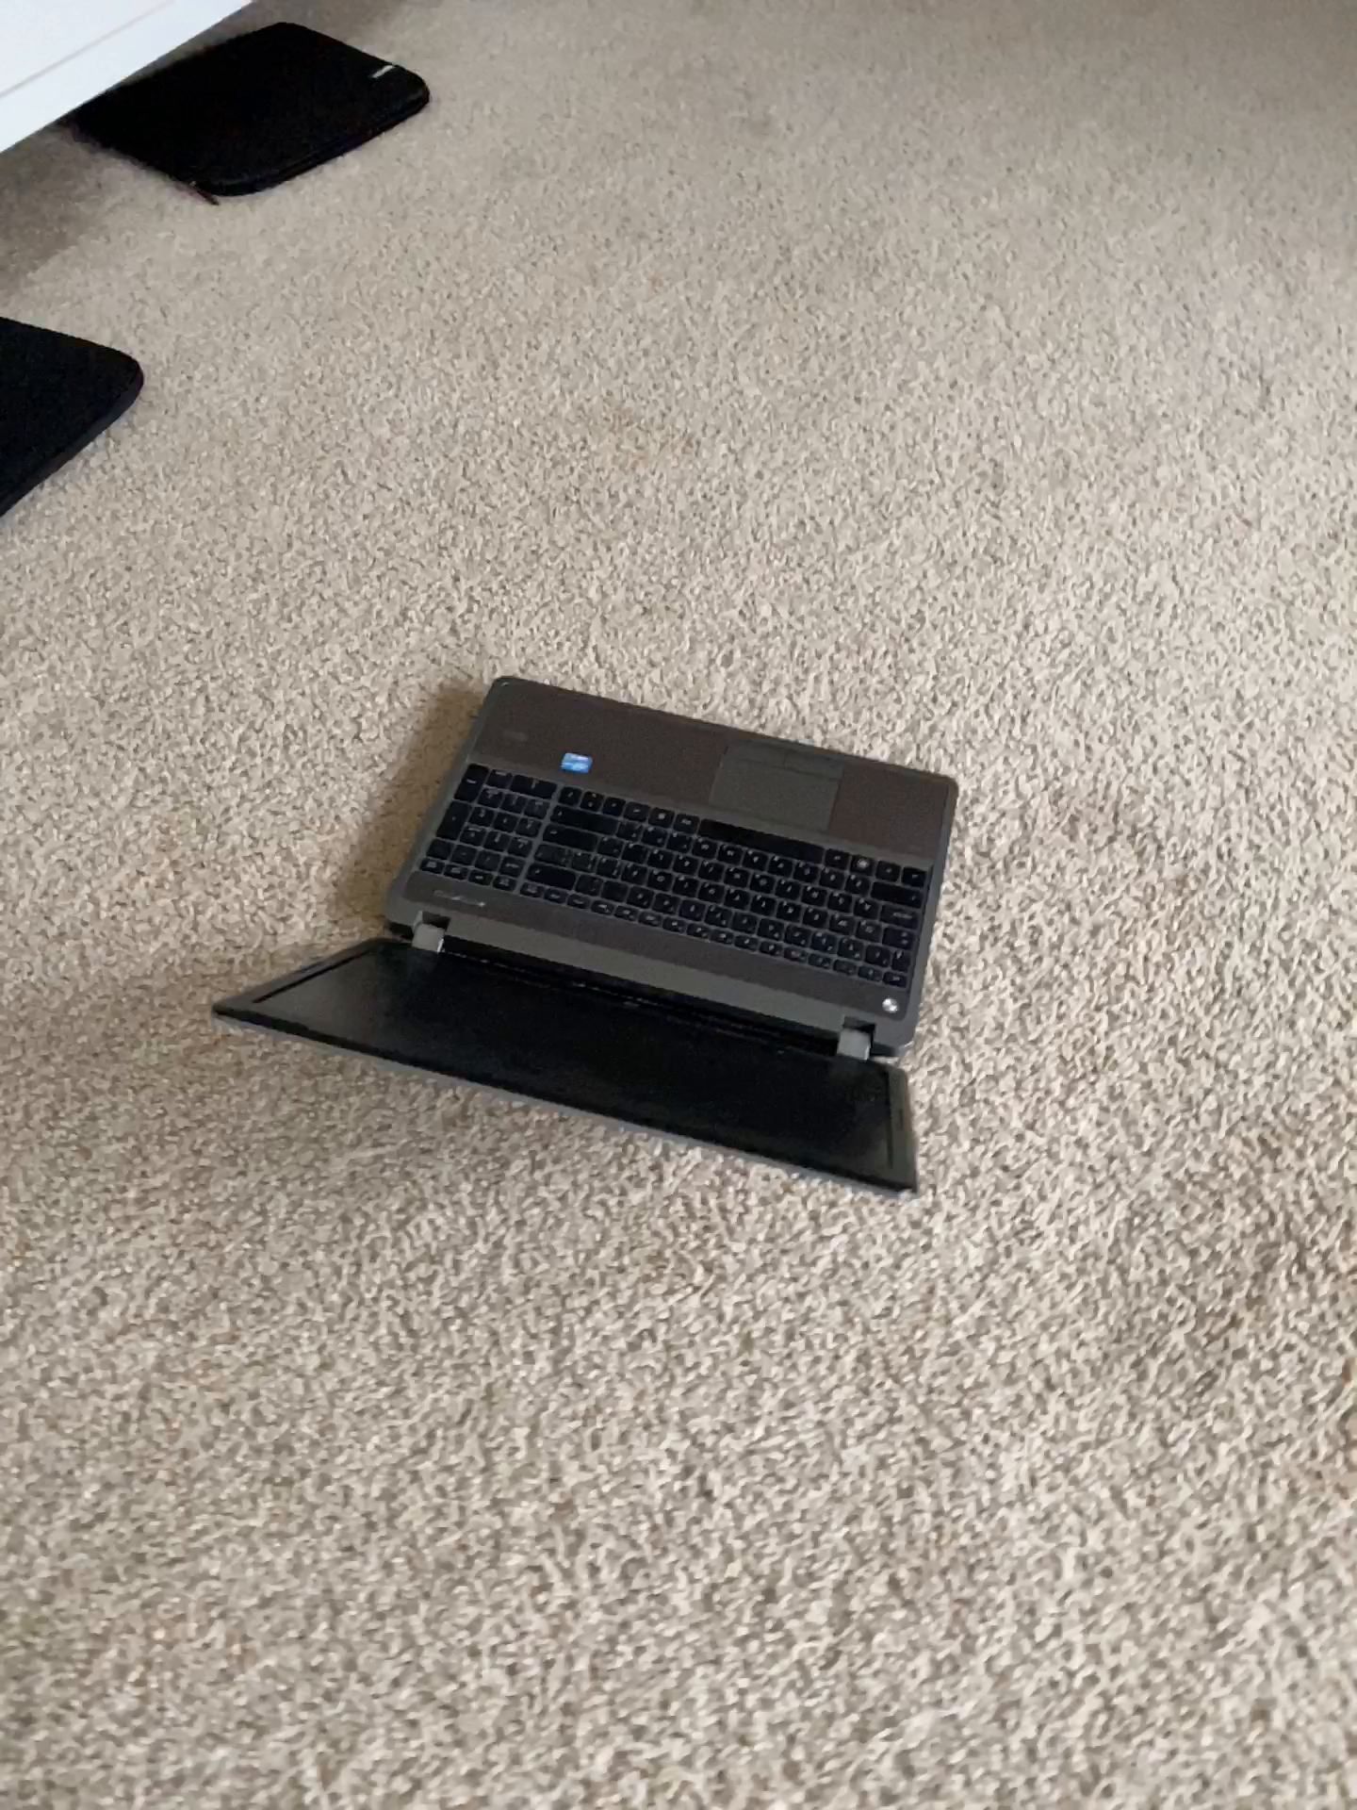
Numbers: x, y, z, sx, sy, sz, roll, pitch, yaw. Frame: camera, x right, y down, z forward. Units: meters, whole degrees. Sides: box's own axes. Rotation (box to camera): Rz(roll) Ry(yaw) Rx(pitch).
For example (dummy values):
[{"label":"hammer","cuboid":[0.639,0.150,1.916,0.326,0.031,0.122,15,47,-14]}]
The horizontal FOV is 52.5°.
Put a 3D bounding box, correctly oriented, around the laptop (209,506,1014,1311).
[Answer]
[{"label":"laptop","cuboid":[-0.012,-0.023,0.887,0.374,0.162,0.437,13,53,6]}]
